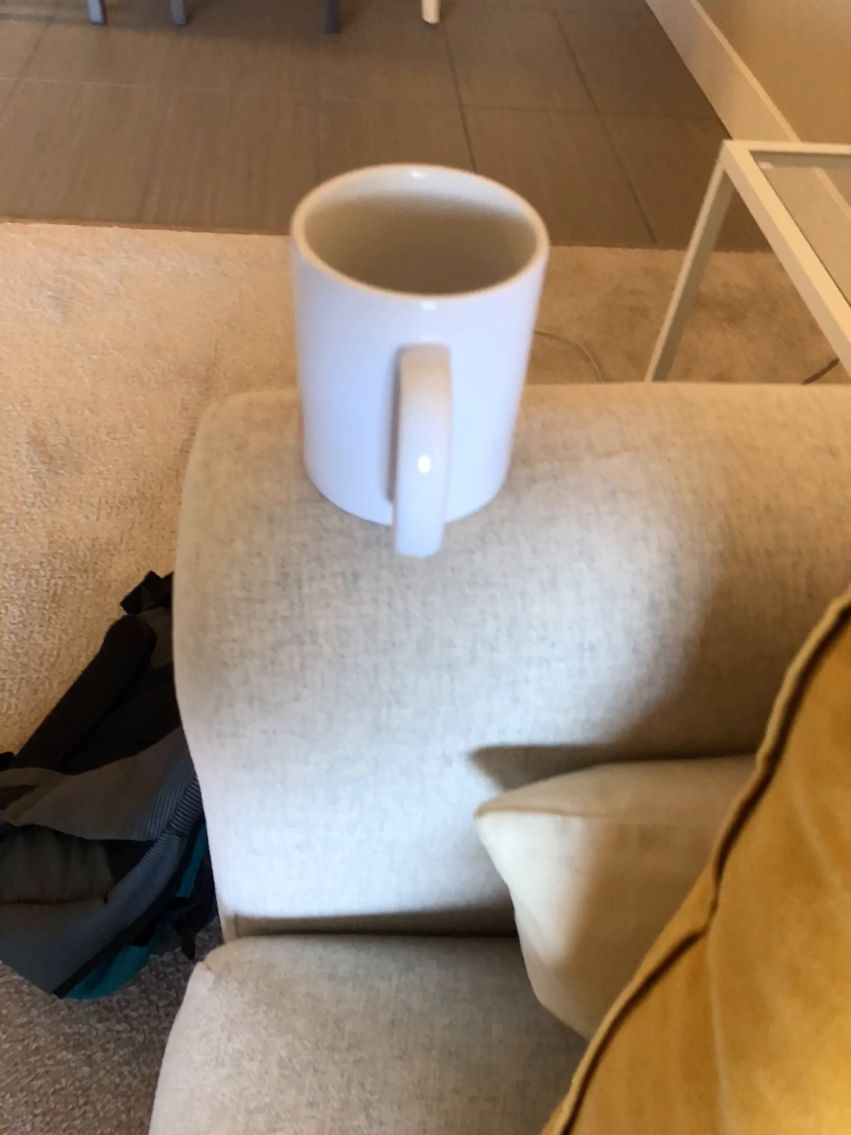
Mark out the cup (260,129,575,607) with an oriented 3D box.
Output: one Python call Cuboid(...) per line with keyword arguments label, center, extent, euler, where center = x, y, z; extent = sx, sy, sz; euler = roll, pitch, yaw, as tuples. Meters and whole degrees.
Cuboid(label="cup", center=(-0.006, -0.067, 0.314), extent=(0.080, 0.100, 0.120), euler=(3, 48, -4))
